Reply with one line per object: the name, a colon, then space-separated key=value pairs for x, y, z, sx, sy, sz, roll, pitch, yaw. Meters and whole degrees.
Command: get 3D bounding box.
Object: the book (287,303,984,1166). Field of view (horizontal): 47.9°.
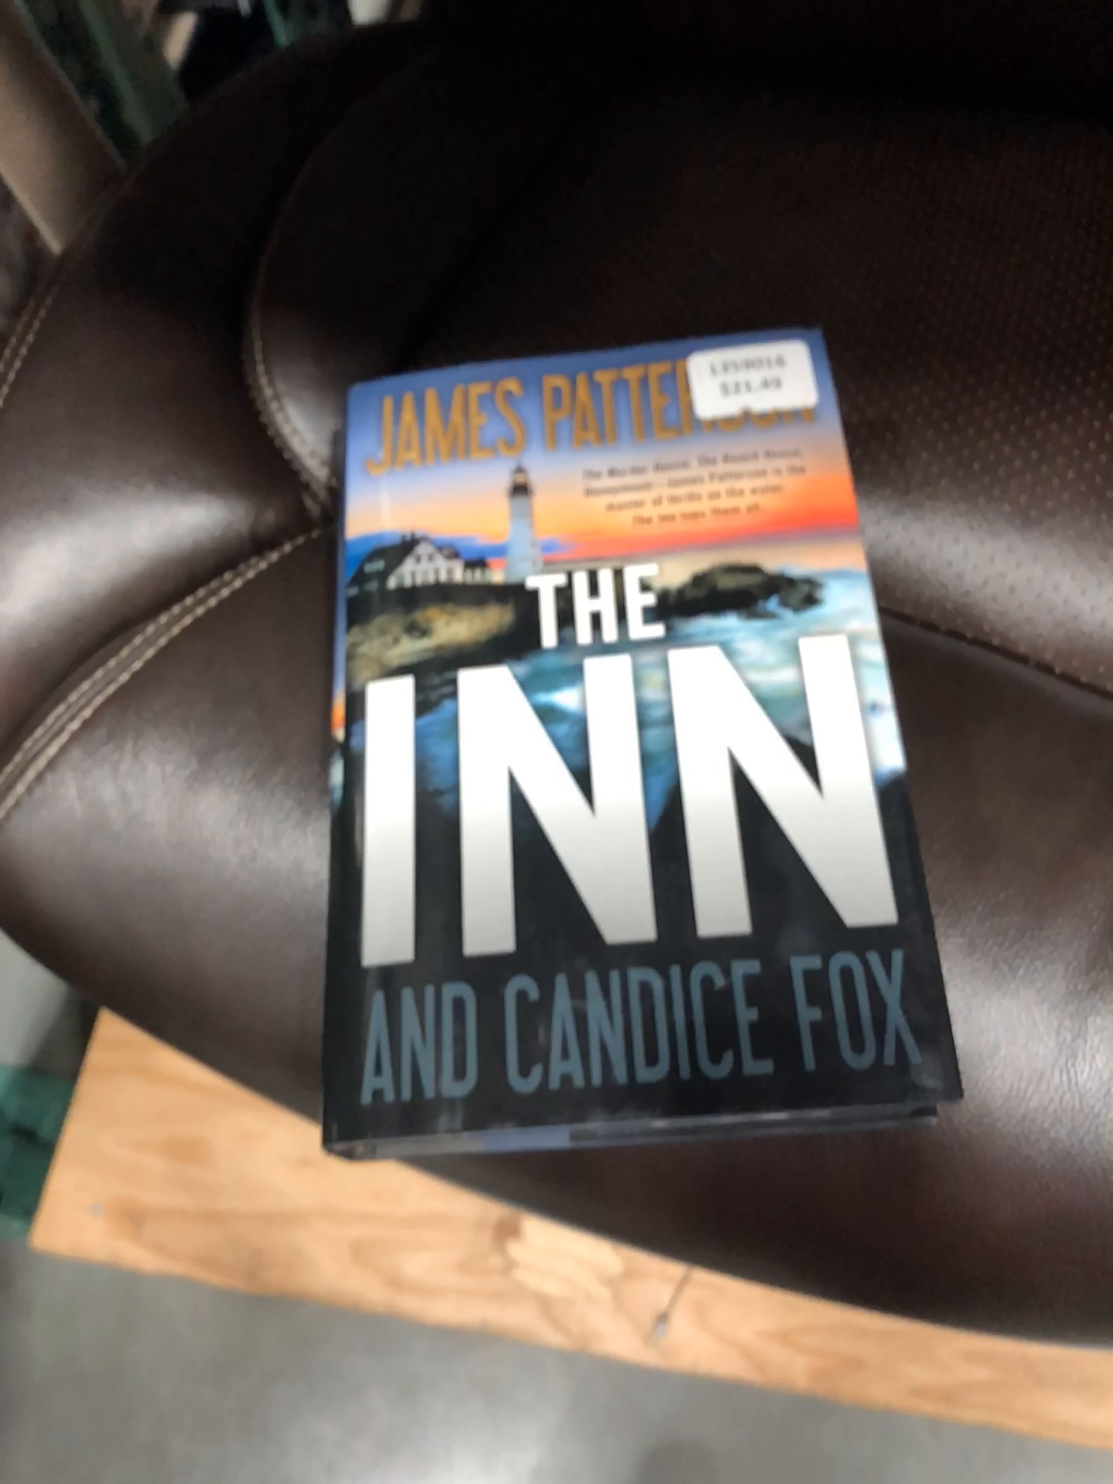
book: x=0.014 y=-0.012 z=0.376 sx=0.170 sy=0.040 sz=0.250 roll=-6 pitch=64 yaw=6
